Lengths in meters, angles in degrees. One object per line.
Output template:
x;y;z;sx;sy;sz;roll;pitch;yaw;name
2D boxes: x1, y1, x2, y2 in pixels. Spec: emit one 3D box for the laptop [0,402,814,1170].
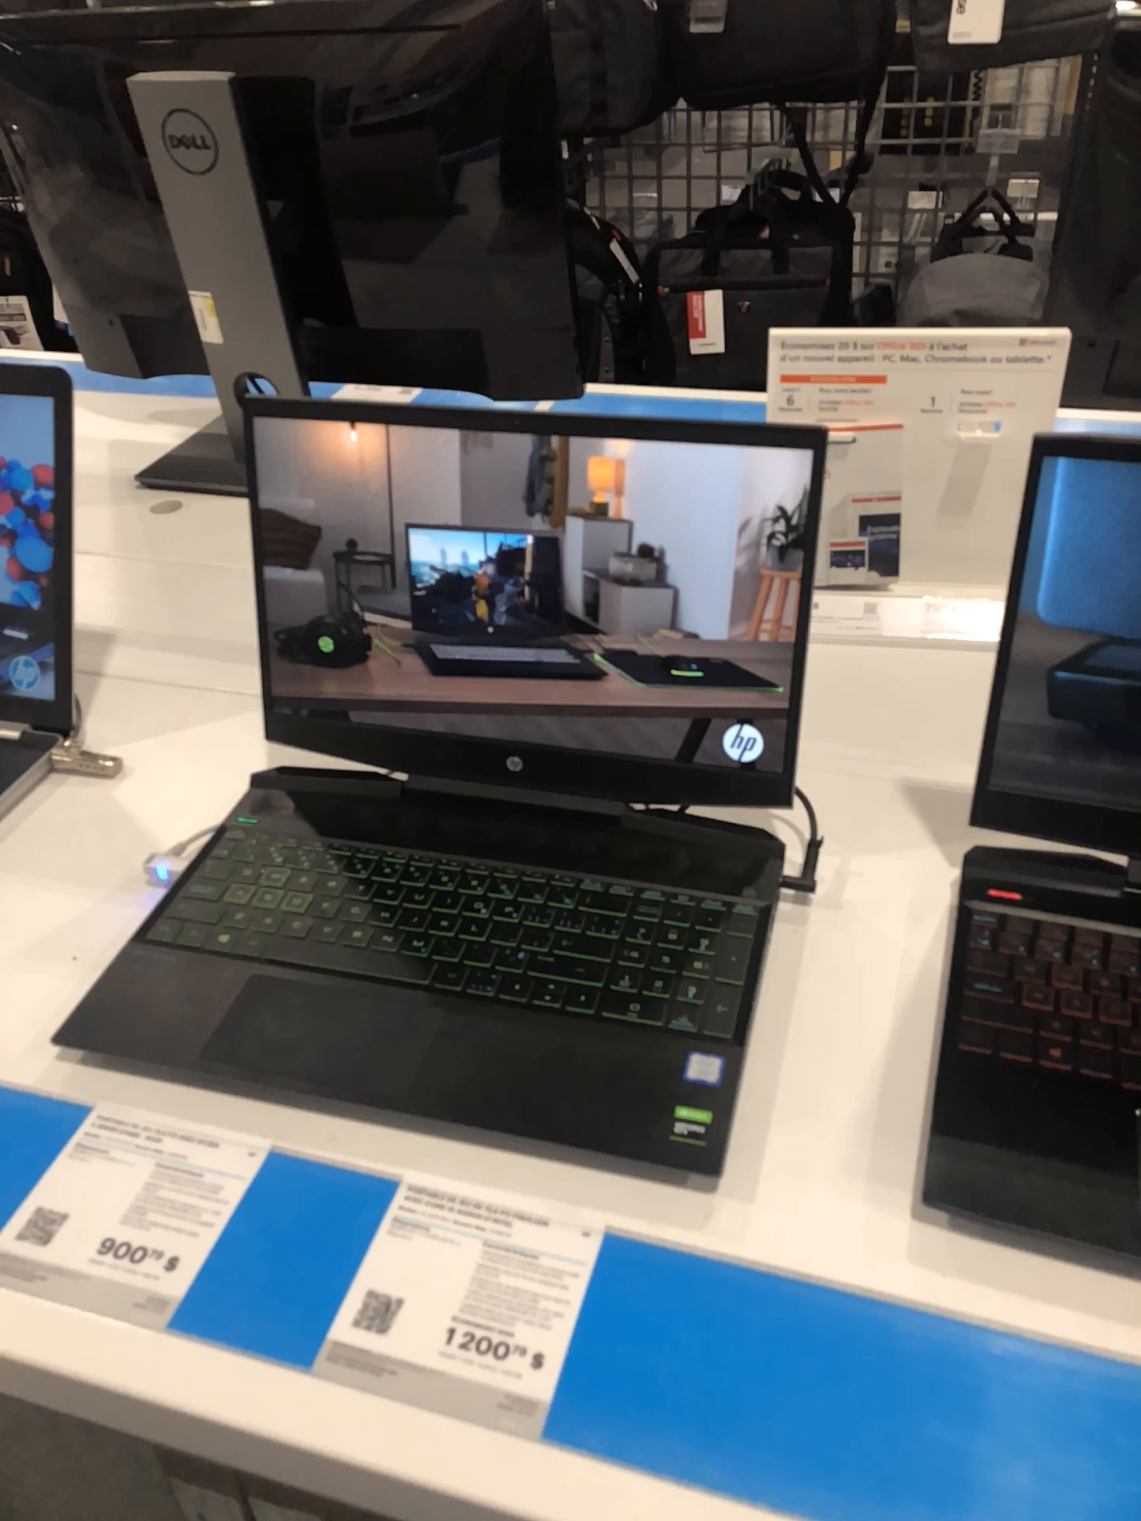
-0.069;-0.017;0.678;0.355;0.232;0.317;7;36;13;laptop
